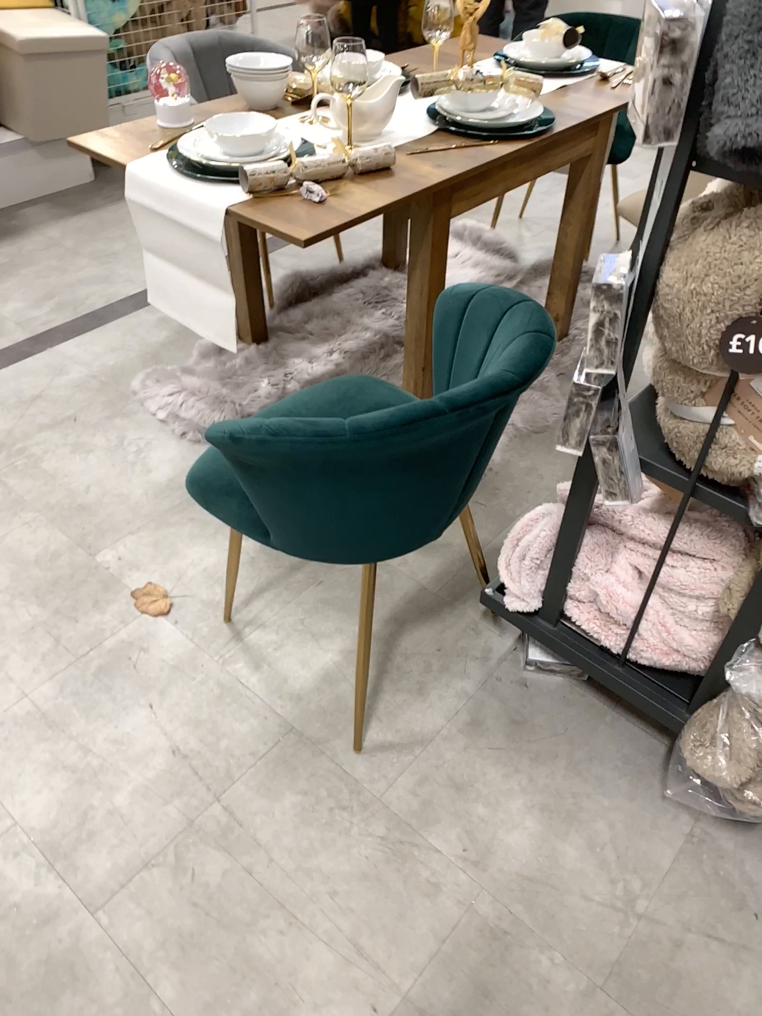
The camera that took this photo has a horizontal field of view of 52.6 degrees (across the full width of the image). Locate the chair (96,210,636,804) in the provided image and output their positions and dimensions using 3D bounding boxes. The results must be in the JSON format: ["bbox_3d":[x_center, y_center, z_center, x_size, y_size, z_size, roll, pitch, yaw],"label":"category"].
[{"bbox_3d":[-0.020,-0.026,1.359,0.572,0.692,0.550,31,51,30],"label":"chair"}]
